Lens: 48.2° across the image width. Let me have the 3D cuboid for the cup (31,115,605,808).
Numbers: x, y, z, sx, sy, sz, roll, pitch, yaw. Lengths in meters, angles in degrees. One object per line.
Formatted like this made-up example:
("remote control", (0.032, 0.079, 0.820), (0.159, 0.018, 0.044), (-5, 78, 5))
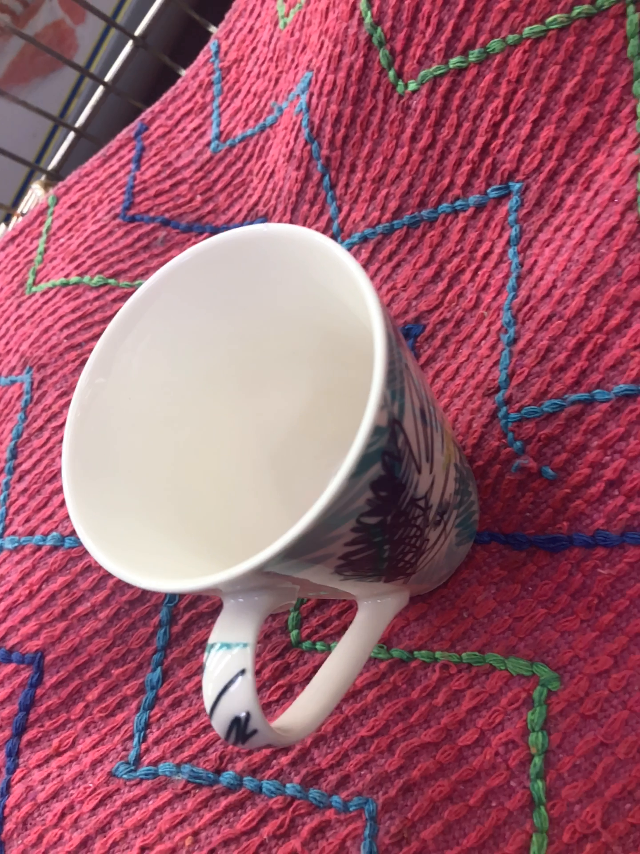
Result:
("cup", (-0.002, 0.015, 0.166), (0.090, 0.080, 0.110), (-18, 70, 26))
